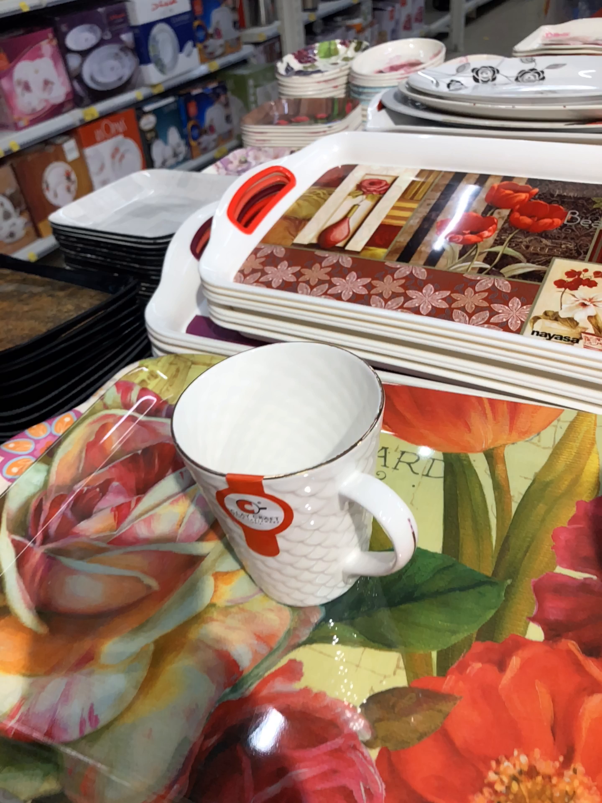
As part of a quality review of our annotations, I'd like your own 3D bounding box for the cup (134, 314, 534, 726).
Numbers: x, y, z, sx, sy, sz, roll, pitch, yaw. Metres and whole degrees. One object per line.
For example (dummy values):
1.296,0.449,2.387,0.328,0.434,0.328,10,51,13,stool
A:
0.014,0.039,0.287,0.120,0.089,0.100,27,48,37,cup
